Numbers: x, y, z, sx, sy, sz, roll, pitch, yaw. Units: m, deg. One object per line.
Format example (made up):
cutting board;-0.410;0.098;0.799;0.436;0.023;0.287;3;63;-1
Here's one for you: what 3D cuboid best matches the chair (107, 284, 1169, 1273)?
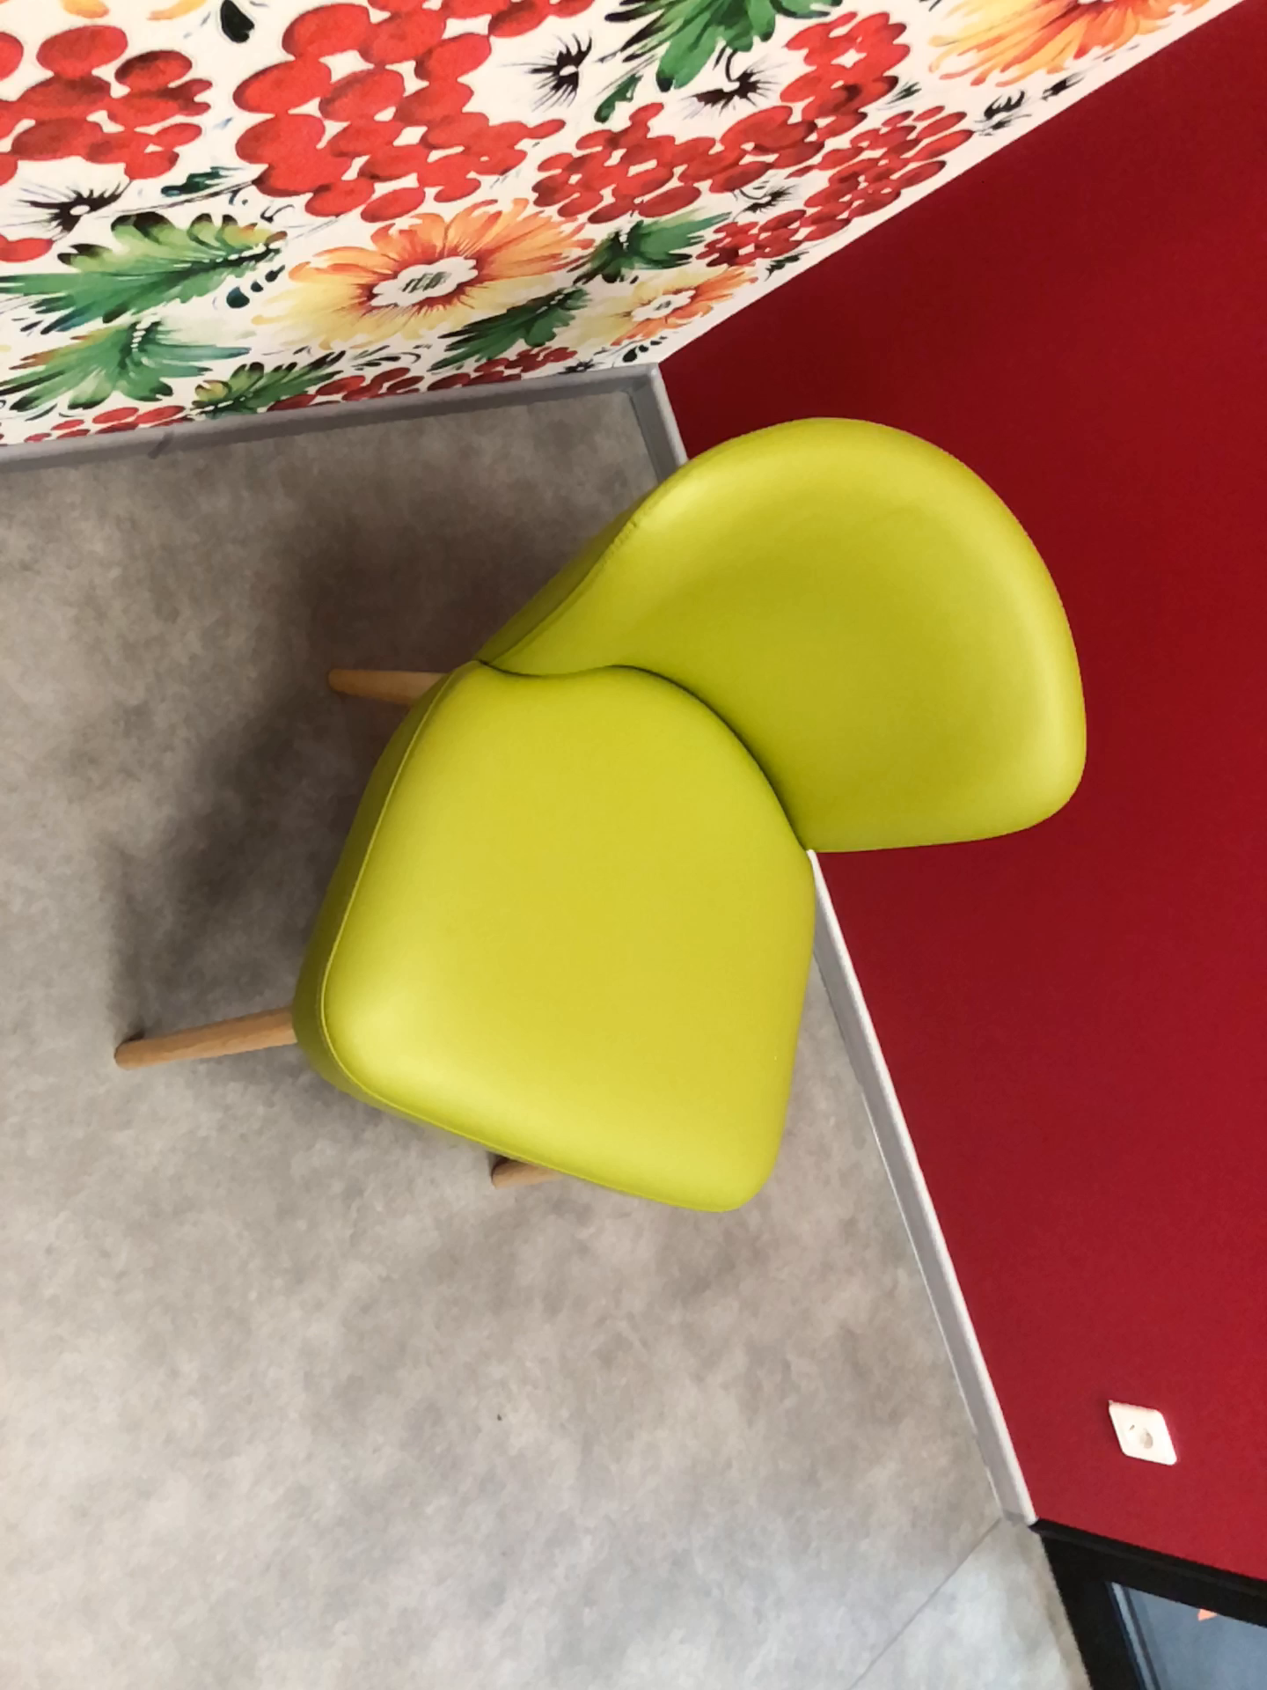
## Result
chair;-0.017;0.016;1.319;0.522;0.776;0.571;29;65;-33
